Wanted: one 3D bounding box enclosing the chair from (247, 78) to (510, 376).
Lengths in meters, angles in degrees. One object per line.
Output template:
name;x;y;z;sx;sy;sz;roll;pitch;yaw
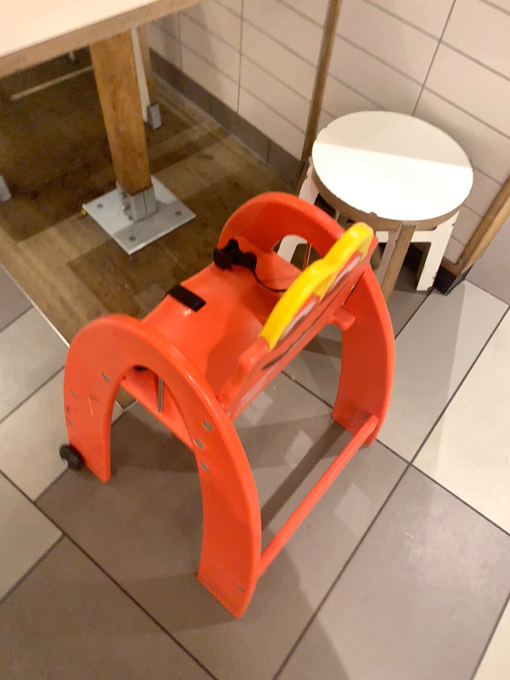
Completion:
chair;0.240;-0.237;1.172;0.371;0.447;0.322;35;62;16

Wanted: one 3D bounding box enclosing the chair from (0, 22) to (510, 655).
chair;-0.037;0.034;0.855;0.581;0.655;0.583;35;62;16
